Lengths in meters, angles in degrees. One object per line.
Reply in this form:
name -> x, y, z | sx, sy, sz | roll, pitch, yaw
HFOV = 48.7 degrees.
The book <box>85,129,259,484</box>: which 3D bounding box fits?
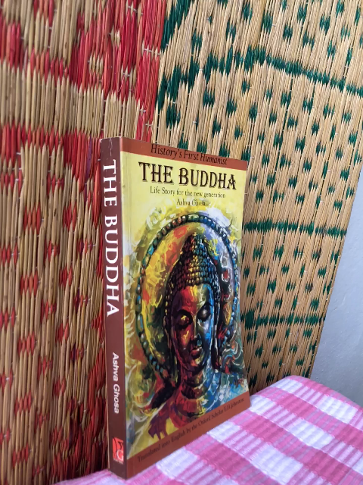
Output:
book -> 0.003, 0.036, 0.294 | 0.030, 0.207, 0.146 | 0, 1, 43
